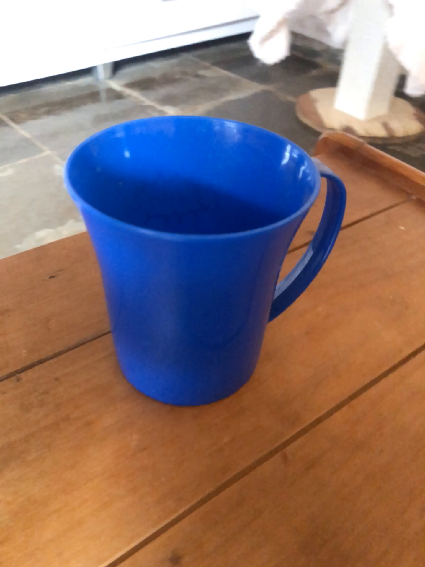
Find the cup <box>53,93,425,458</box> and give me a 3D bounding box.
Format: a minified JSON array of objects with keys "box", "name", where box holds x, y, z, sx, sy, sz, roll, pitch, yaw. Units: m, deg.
[{"box":[0.006,-0.011,0.209,0.120,0.099,0.101,-12,44,-17],"name":"cup"}]
